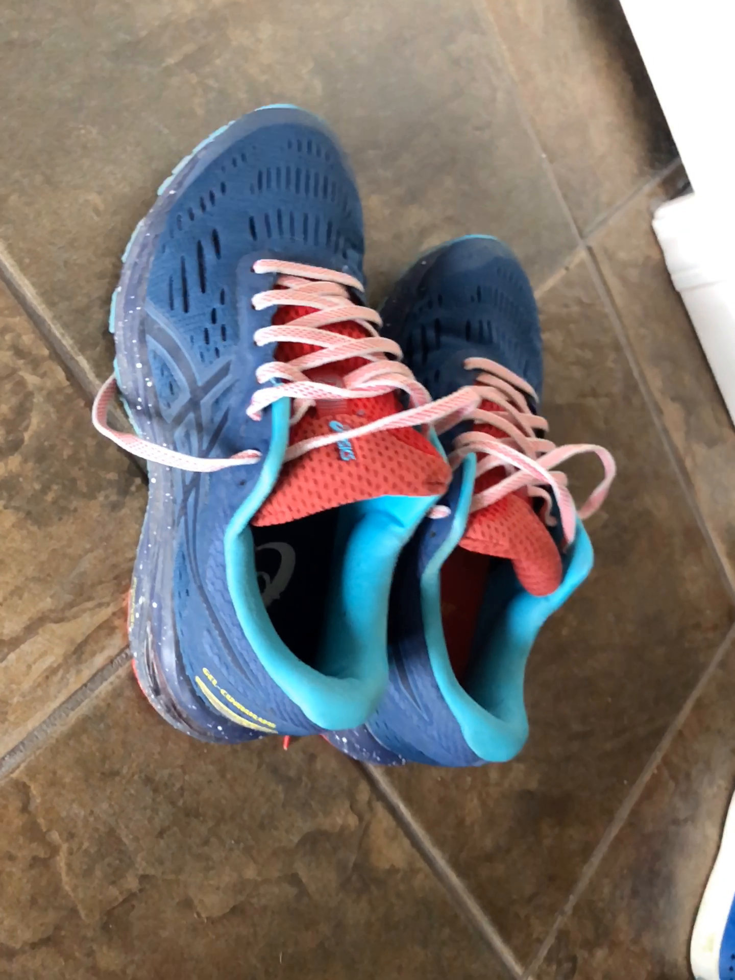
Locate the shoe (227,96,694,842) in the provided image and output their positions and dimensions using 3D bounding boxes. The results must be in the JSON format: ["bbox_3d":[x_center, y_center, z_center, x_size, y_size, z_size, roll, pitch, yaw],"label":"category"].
[{"bbox_3d":[0.048,-0.004,0.400,0.120,0.129,0.300,19,79,-35],"label":"shoe"}]

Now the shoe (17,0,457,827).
[{"bbox_3d":[-0.060,-0.034,0.359,0.120,0.129,0.300,7,85,-37],"label":"shoe"}]
